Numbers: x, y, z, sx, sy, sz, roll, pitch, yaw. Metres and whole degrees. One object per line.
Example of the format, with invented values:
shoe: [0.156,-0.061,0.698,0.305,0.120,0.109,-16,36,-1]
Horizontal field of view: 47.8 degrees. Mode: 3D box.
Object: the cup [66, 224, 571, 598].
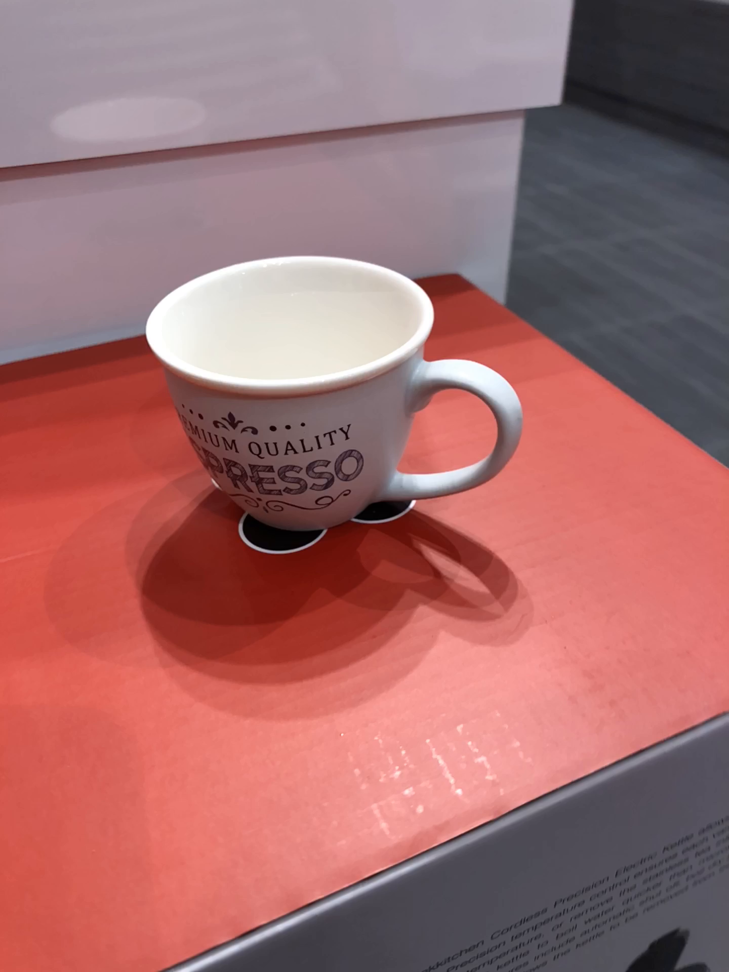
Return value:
cup: [-0.006,-0.026,0.202,0.090,0.040,0.080,15,39,20]
